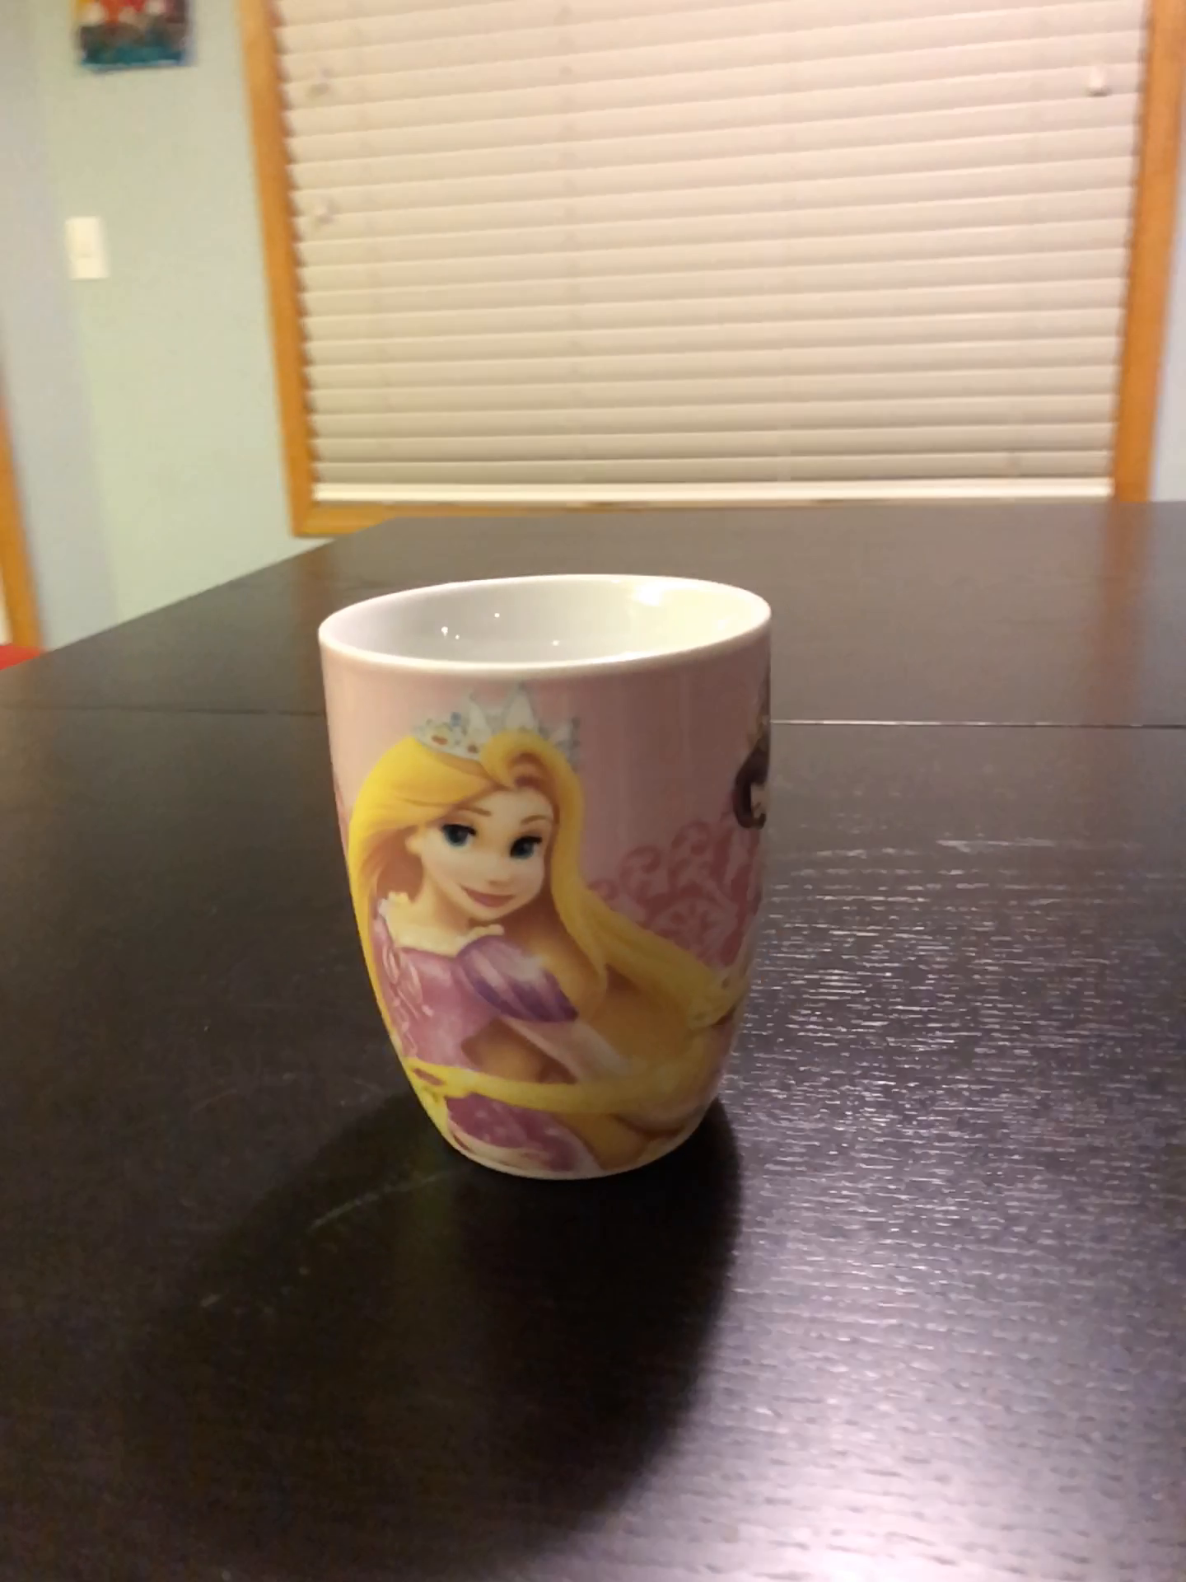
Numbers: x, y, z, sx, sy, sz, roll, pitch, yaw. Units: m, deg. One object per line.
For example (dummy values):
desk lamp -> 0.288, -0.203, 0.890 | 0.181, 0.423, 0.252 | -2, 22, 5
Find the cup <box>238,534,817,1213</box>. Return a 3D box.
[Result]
cup -> -0.003, 0.006, 0.274 | 0.090, 0.100, 0.120 | 0, 18, 7
